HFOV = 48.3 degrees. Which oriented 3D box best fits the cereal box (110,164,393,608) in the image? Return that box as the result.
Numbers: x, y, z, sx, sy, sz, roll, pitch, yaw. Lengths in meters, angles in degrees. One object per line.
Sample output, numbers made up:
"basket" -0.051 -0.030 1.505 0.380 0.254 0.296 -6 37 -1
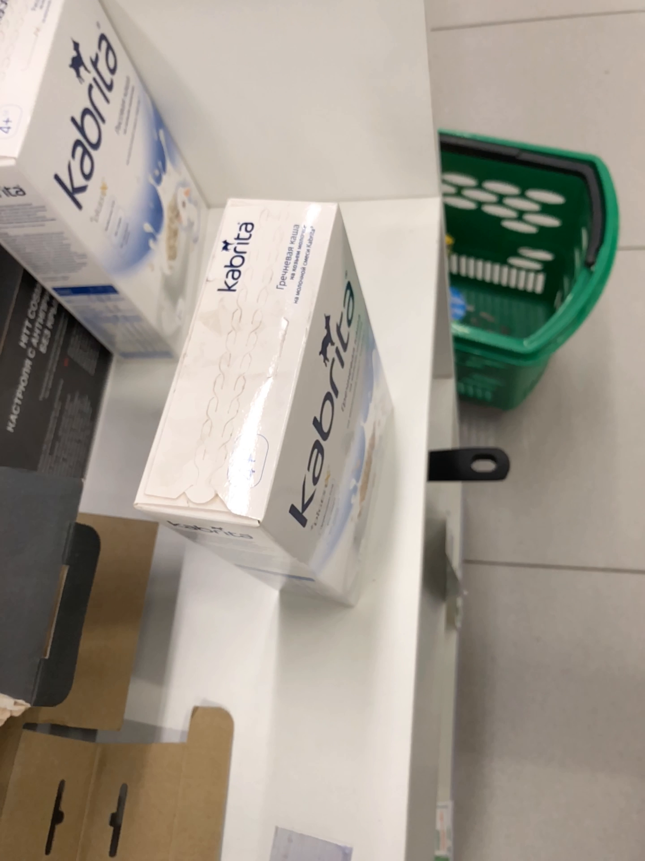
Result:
"cereal box" -0.013 0.000 0.361 0.050 0.219 0.140 7 71 15
